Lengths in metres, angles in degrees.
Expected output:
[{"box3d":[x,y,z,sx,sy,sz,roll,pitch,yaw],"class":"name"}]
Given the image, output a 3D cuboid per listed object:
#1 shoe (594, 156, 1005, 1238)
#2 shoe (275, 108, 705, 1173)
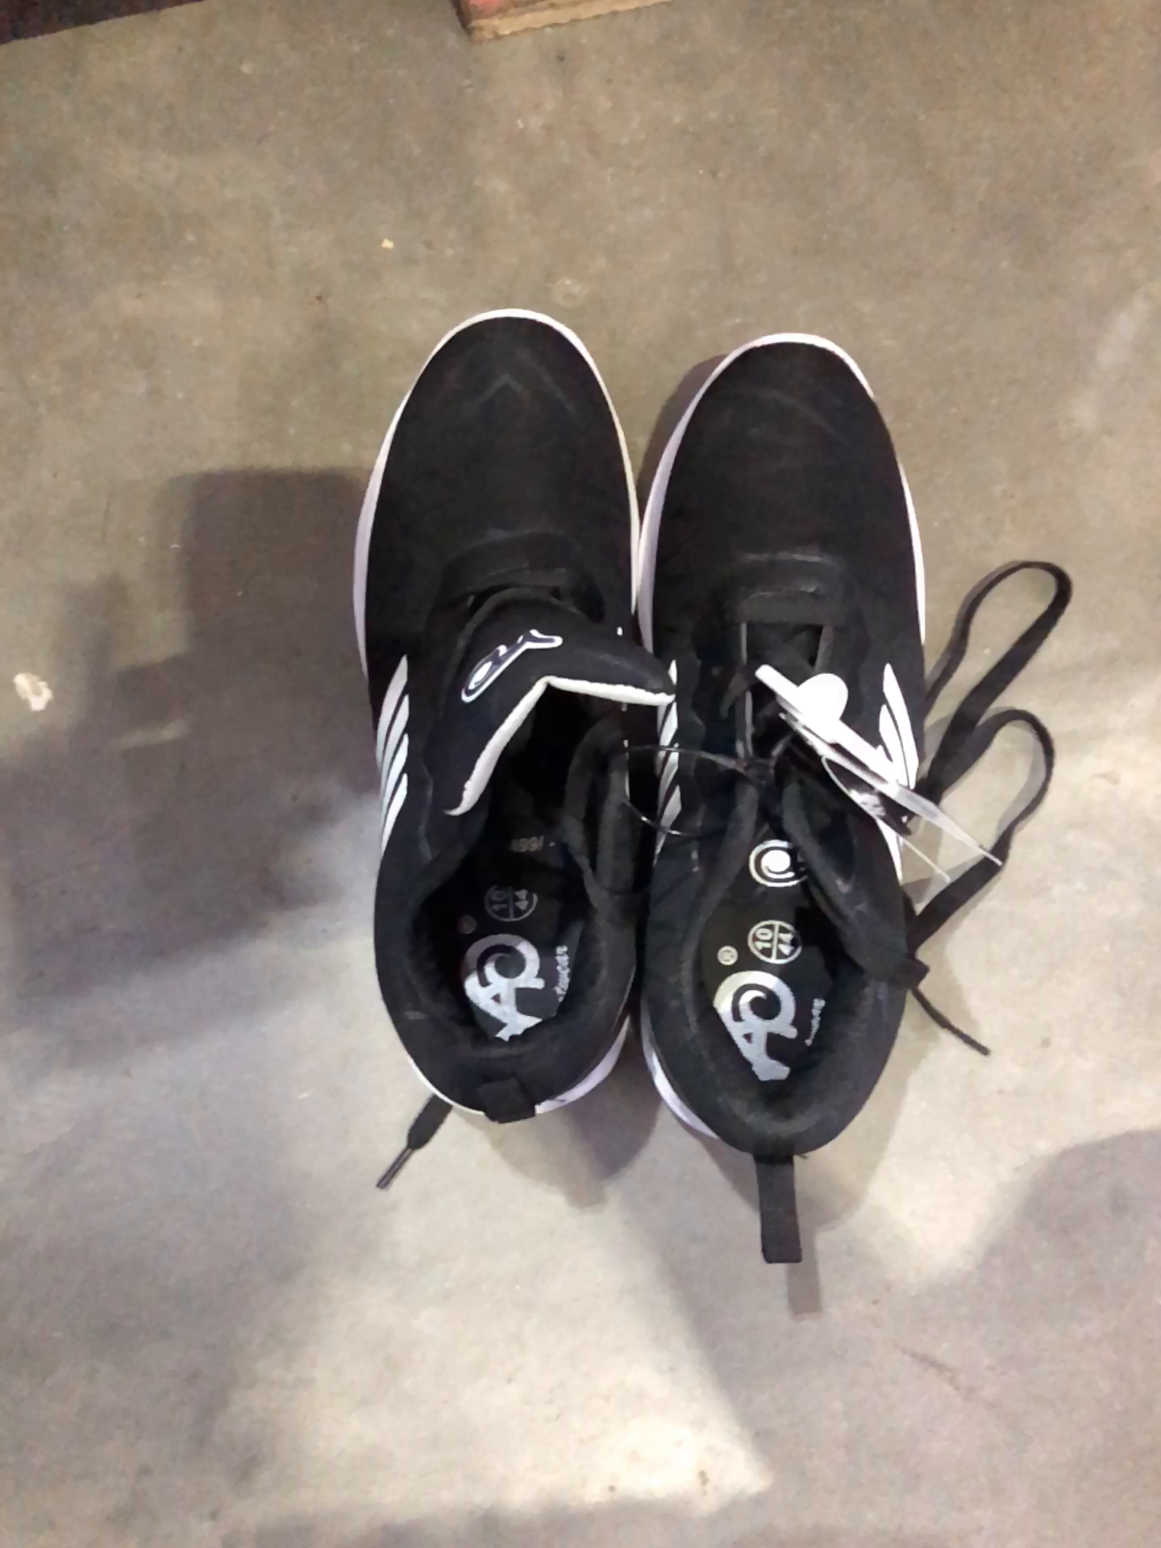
[{"box3d":[0.069,-0.024,0.439,0.110,0.130,0.320,3,80,1],"class":"shoe"},{"box3d":[-0.032,-0.042,0.453,0.120,0.130,0.330,-3,80,0],"class":"shoe"}]
